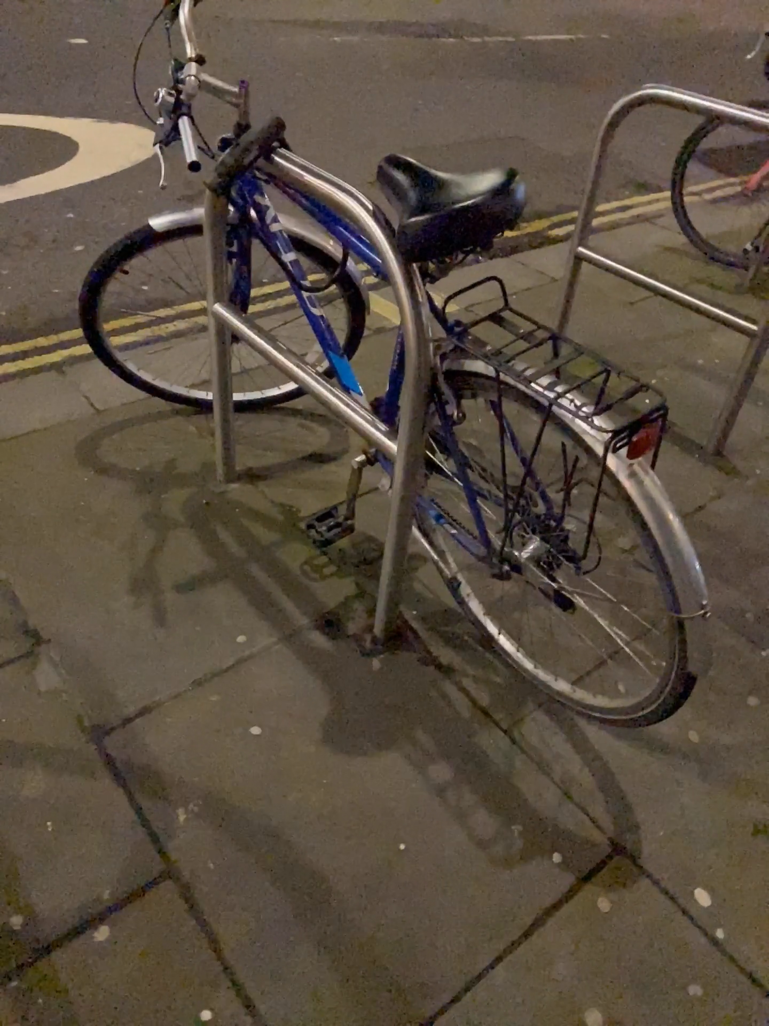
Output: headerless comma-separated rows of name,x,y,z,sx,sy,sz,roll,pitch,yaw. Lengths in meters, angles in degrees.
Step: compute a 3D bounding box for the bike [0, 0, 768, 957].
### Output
bike,-0.133,-0.288,1.380,1.596,1.108,0.658,35,48,27
